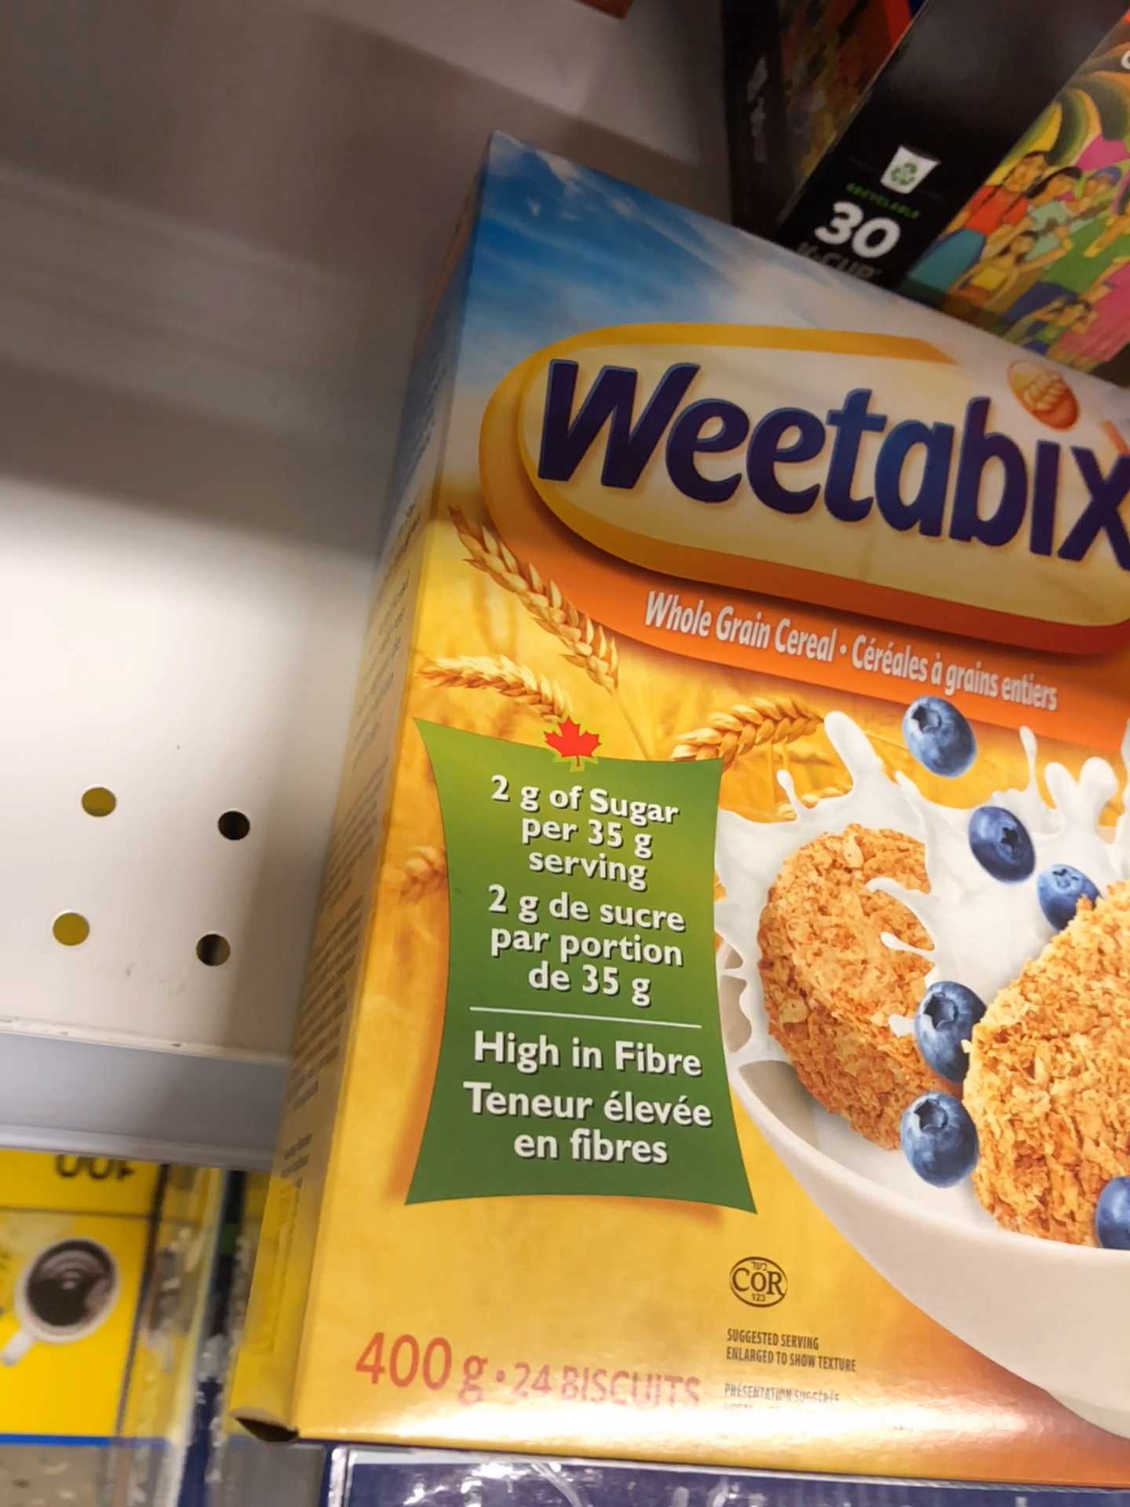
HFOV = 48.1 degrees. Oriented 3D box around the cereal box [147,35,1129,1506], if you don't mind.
[{"bbox_3d":[0.052,-0.004,0.272,0.210,0.050,0.290,14,59,-18],"label":"cereal box"}]
